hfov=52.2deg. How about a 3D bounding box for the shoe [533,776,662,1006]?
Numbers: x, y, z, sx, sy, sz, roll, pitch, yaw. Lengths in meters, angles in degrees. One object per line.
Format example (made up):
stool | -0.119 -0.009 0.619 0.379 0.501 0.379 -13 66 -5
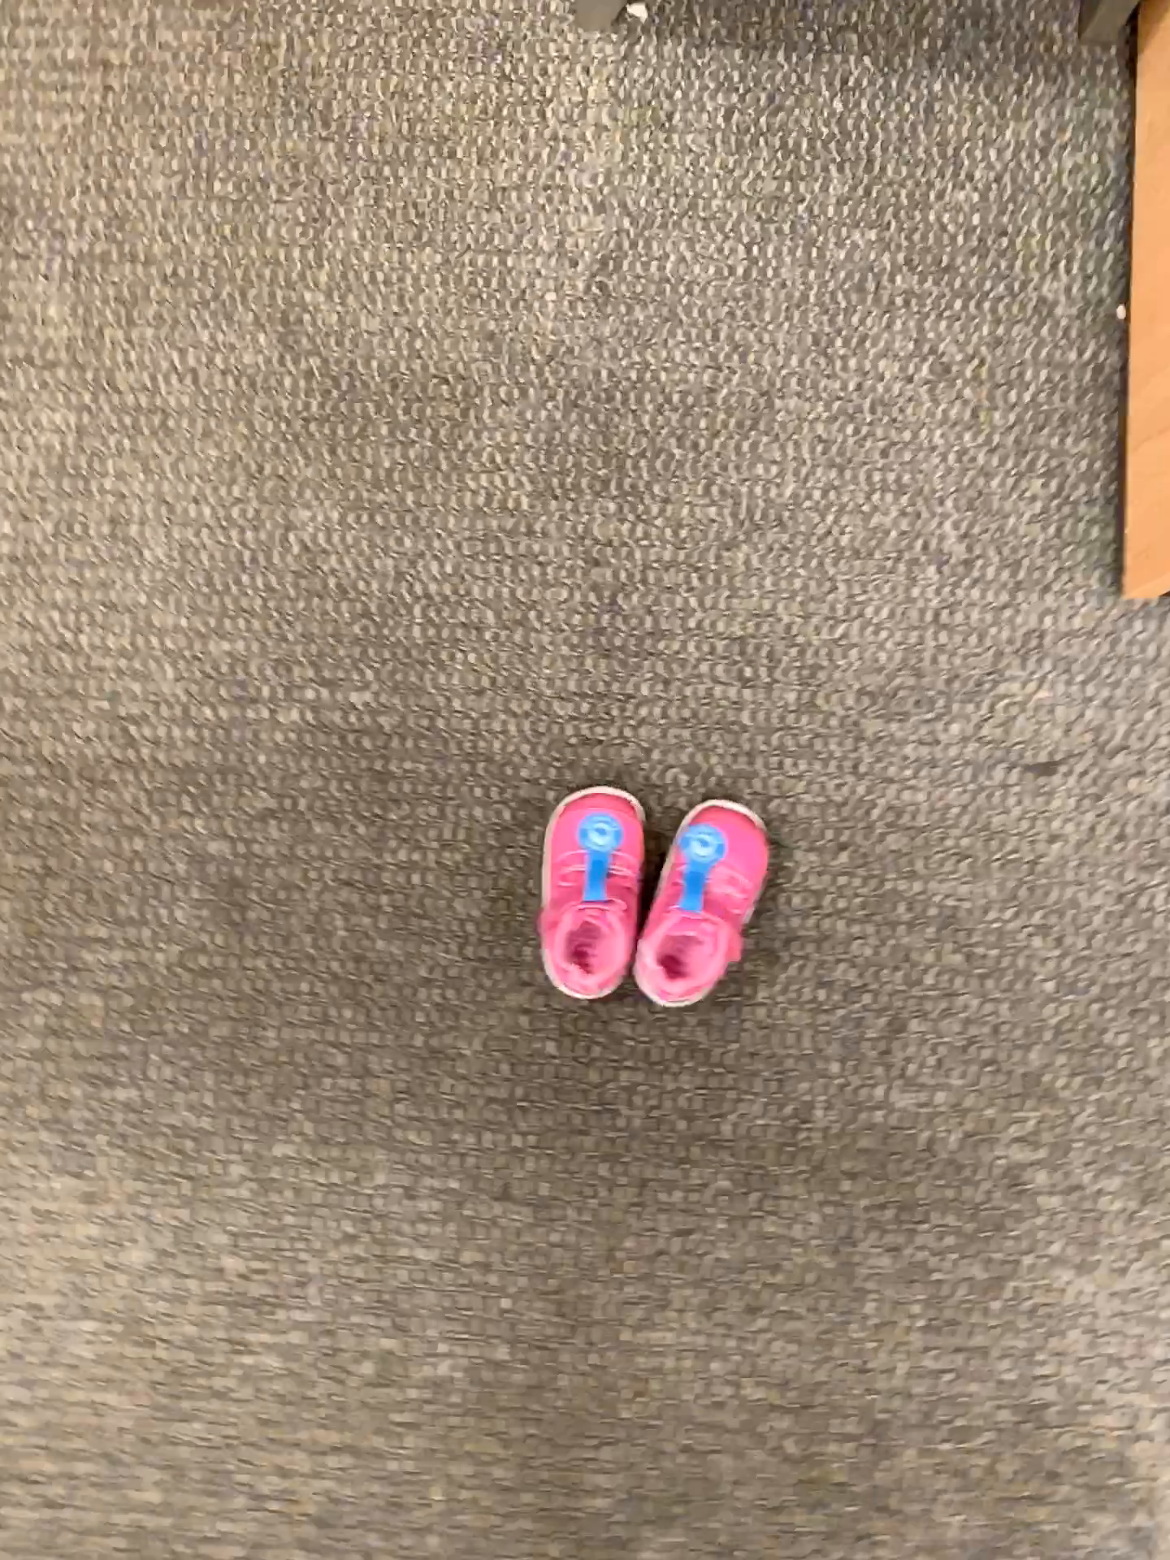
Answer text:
shoe | 0.009 0.071 0.780 0.070 0.040 0.140 5 87 2

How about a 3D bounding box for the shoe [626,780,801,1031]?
shoe | 0.080 0.078 0.757 0.070 0.040 0.140 17 87 2
